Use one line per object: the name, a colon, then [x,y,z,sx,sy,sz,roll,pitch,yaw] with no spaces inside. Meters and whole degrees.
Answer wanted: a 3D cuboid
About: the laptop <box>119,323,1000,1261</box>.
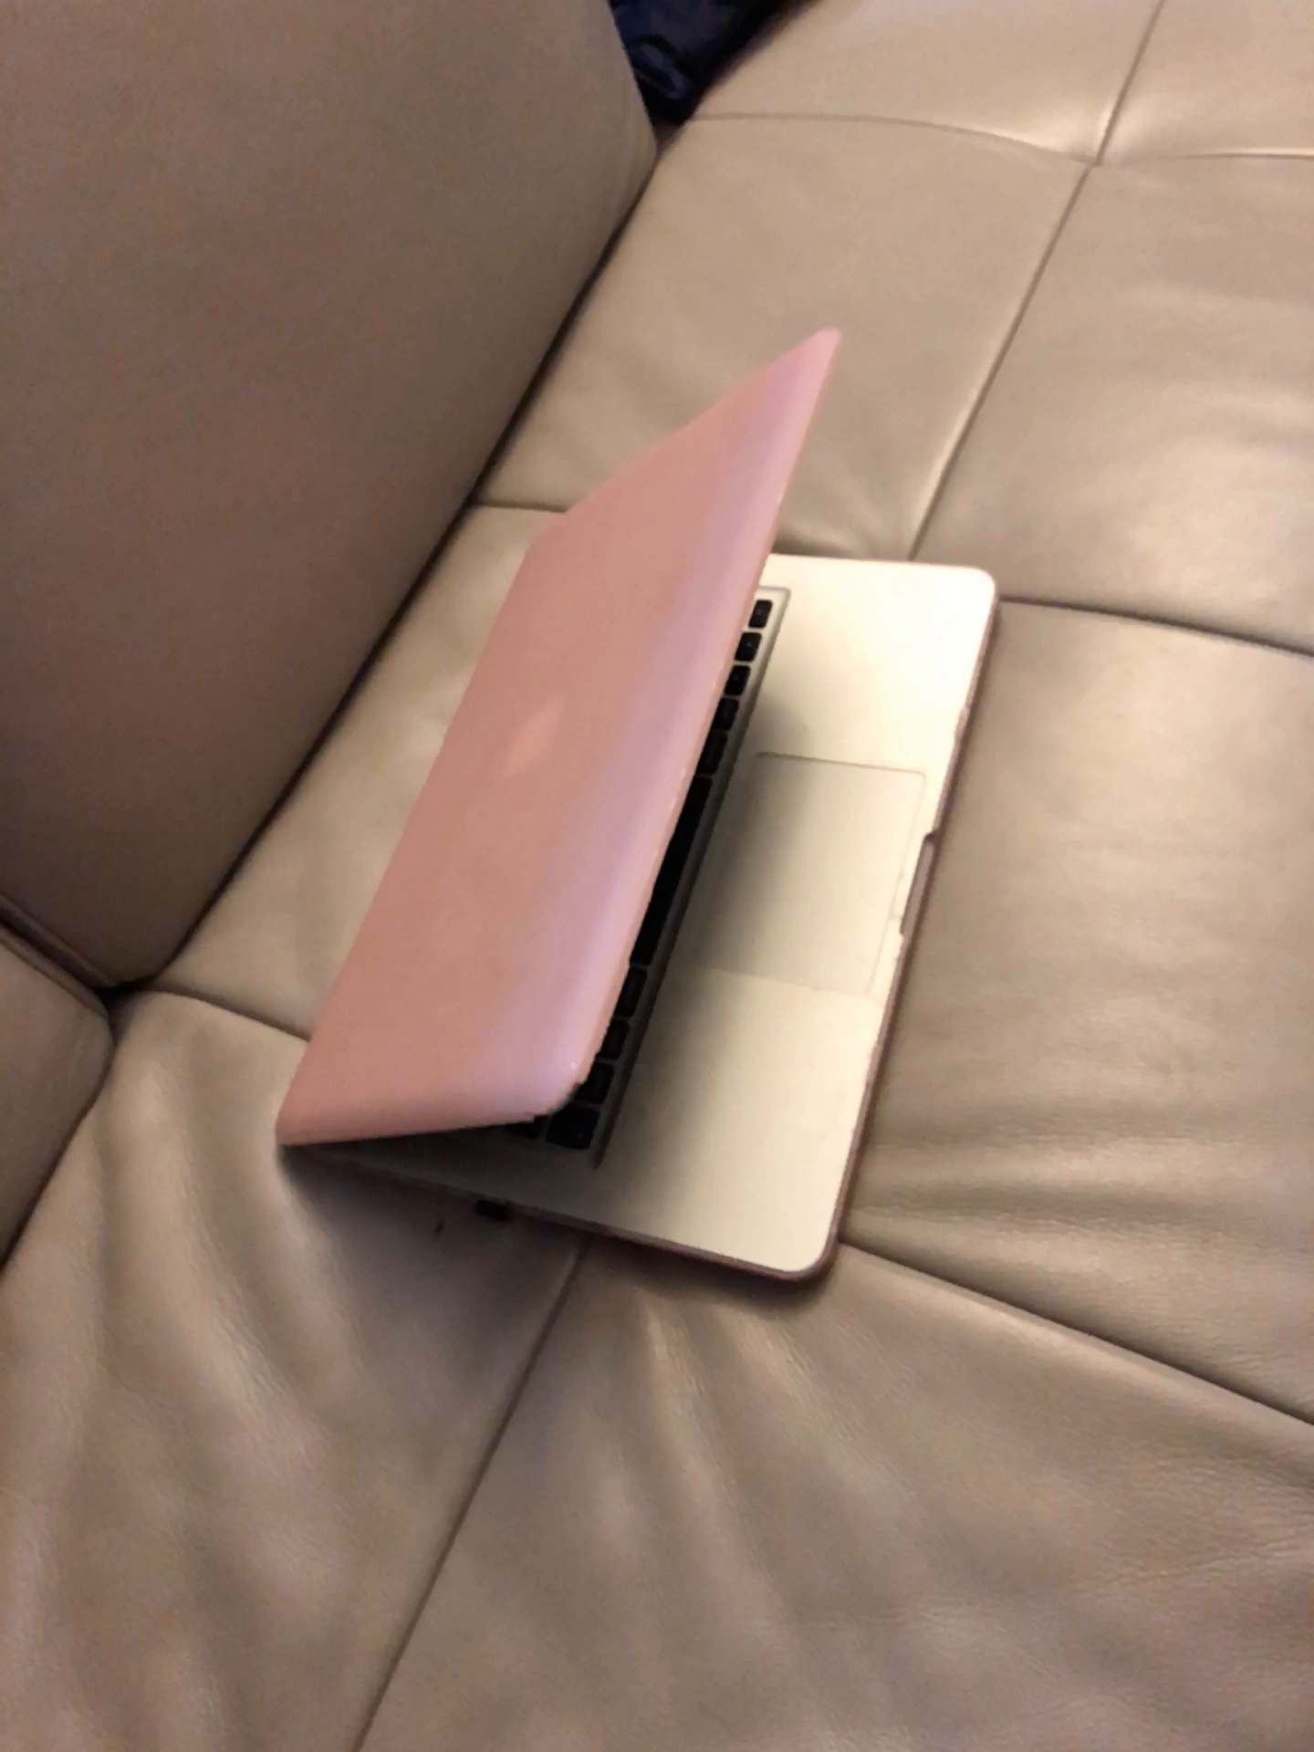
laptop: [-0.012,-0.045,0.552,0.220,0.145,0.308,9,64,20]
